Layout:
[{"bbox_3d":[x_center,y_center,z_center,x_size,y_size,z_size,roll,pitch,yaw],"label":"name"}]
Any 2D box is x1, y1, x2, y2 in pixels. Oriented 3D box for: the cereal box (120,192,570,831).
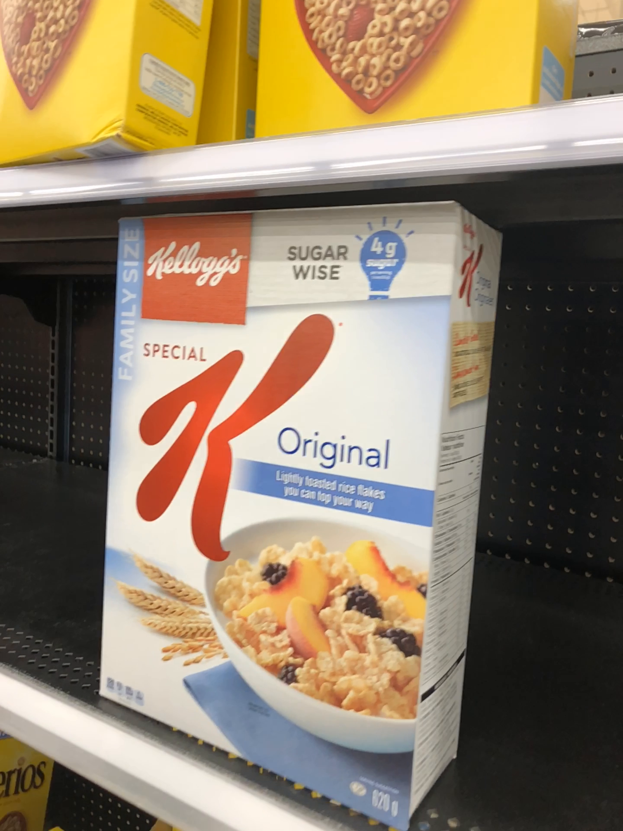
[{"bbox_3d":[0.007,0.041,0.439,0.260,0.329,0.080,6,7,29],"label":"cereal box"}]
